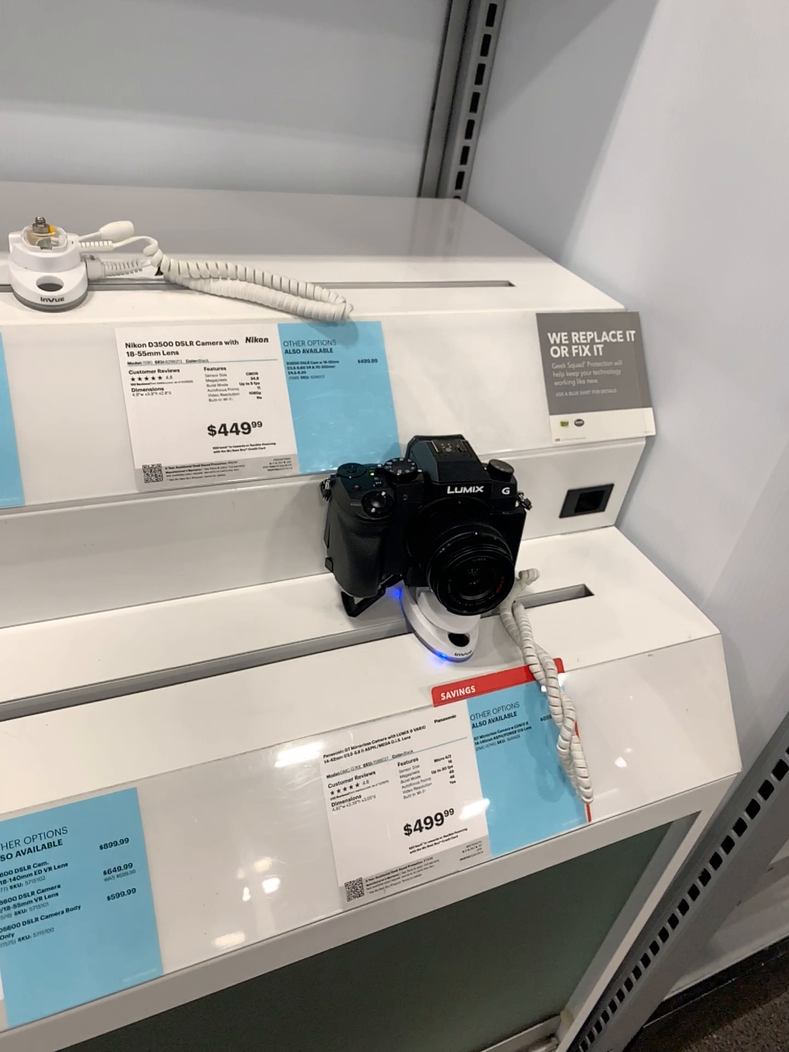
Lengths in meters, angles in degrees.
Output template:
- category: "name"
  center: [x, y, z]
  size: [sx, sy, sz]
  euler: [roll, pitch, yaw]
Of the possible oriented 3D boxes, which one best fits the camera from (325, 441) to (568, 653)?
- category: "camera"
  center: [0.026, 0.009, 0.527]
  size: [0.118, 0.080, 0.115]
  euler: [-2, 37, -16]
